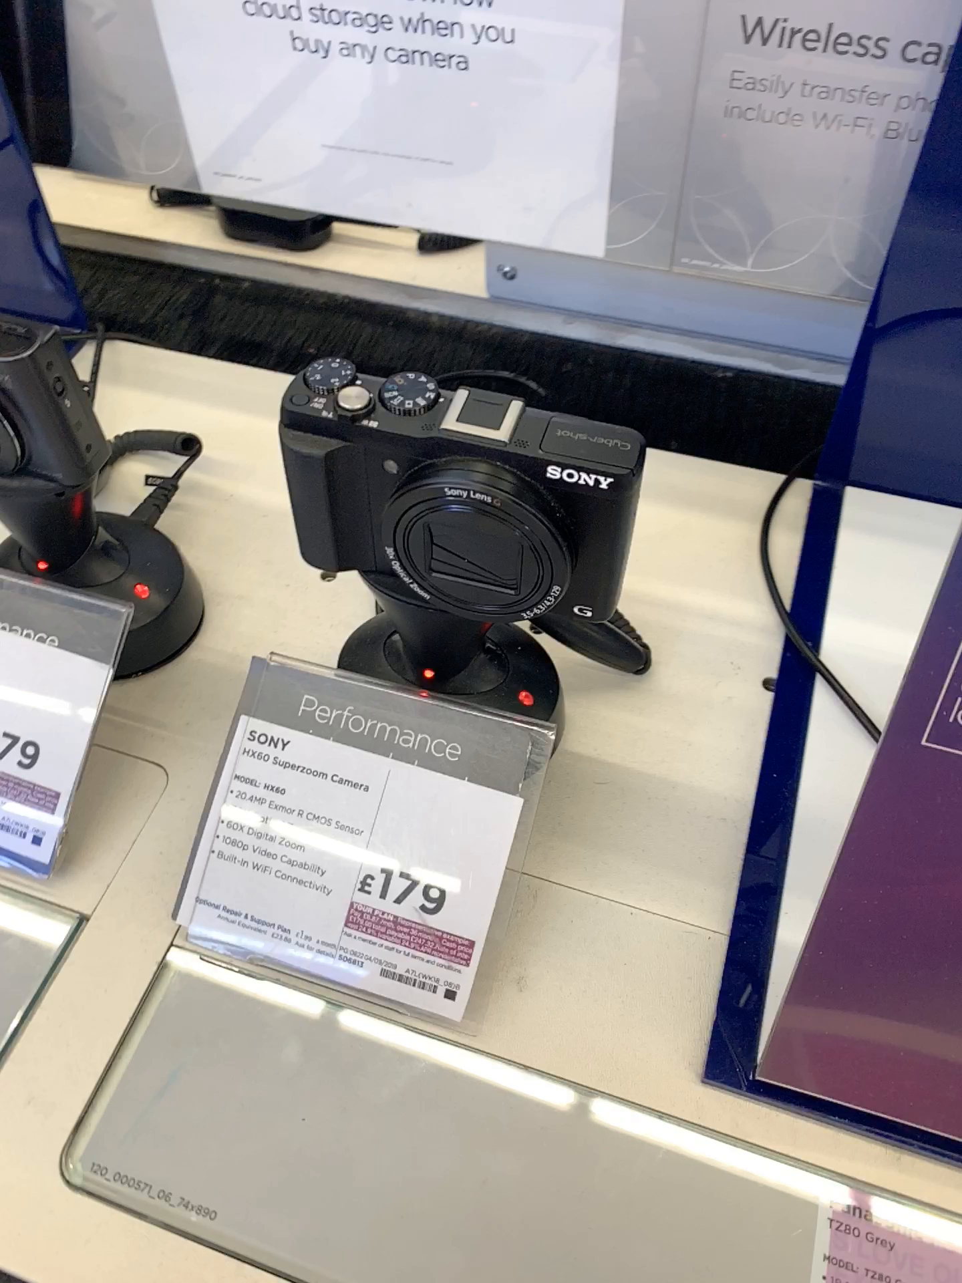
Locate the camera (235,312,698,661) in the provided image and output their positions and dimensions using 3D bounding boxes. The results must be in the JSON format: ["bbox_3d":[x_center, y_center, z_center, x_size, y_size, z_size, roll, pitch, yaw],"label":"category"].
[{"bbox_3d":[-0.002,-0.043,0.277,0.110,0.069,0.040,12,54,11],"label":"camera"}]
